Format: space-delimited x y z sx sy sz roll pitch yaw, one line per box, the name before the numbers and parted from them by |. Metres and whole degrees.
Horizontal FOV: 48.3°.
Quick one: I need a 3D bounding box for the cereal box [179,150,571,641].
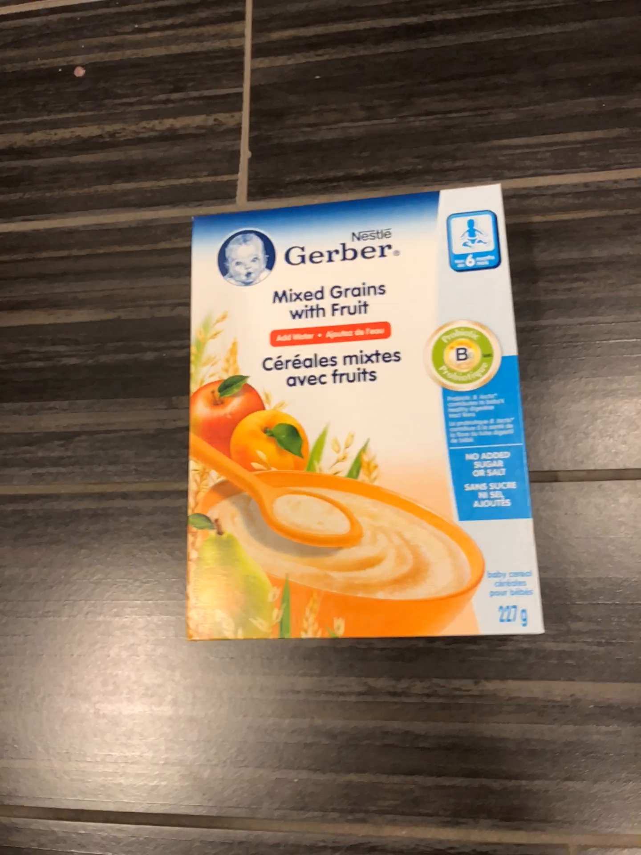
cereal box | 0.020 -0.012 0.318 0.150 0.050 0.200 -3 78 8
